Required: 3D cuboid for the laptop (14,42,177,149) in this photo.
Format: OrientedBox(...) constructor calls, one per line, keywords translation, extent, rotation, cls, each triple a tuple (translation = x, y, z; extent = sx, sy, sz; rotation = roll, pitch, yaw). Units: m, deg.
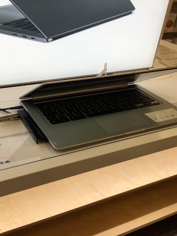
OrientedBox(translation=(0.048, -0.075, 0.545), extent=(0.348, 0.139, 0.221), rotation=(-13, 38, -23), cls="laptop")
